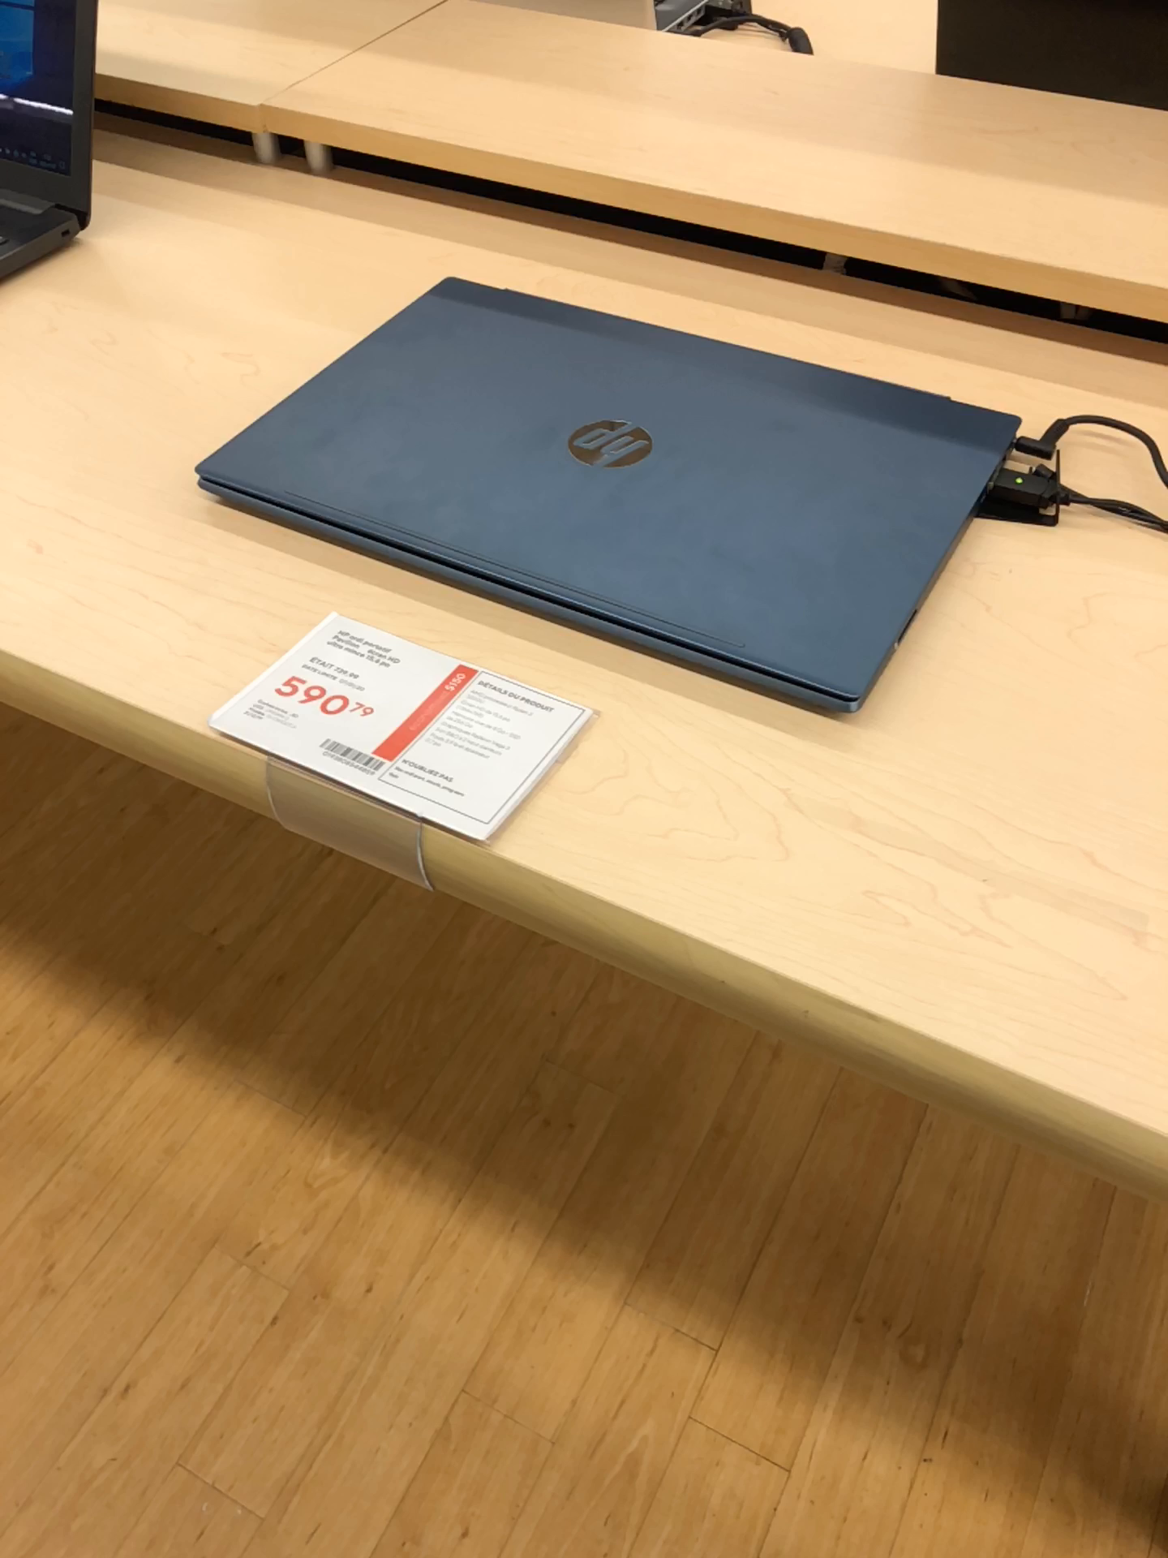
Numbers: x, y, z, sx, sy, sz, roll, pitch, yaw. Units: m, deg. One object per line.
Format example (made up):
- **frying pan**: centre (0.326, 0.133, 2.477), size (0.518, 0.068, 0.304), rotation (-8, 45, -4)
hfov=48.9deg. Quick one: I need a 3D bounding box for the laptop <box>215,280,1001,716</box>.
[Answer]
- **laptop**: centre (0.010, -0.167, 0.669), size (0.353, 0.012, 0.220), rotation (21, 54, 22)
